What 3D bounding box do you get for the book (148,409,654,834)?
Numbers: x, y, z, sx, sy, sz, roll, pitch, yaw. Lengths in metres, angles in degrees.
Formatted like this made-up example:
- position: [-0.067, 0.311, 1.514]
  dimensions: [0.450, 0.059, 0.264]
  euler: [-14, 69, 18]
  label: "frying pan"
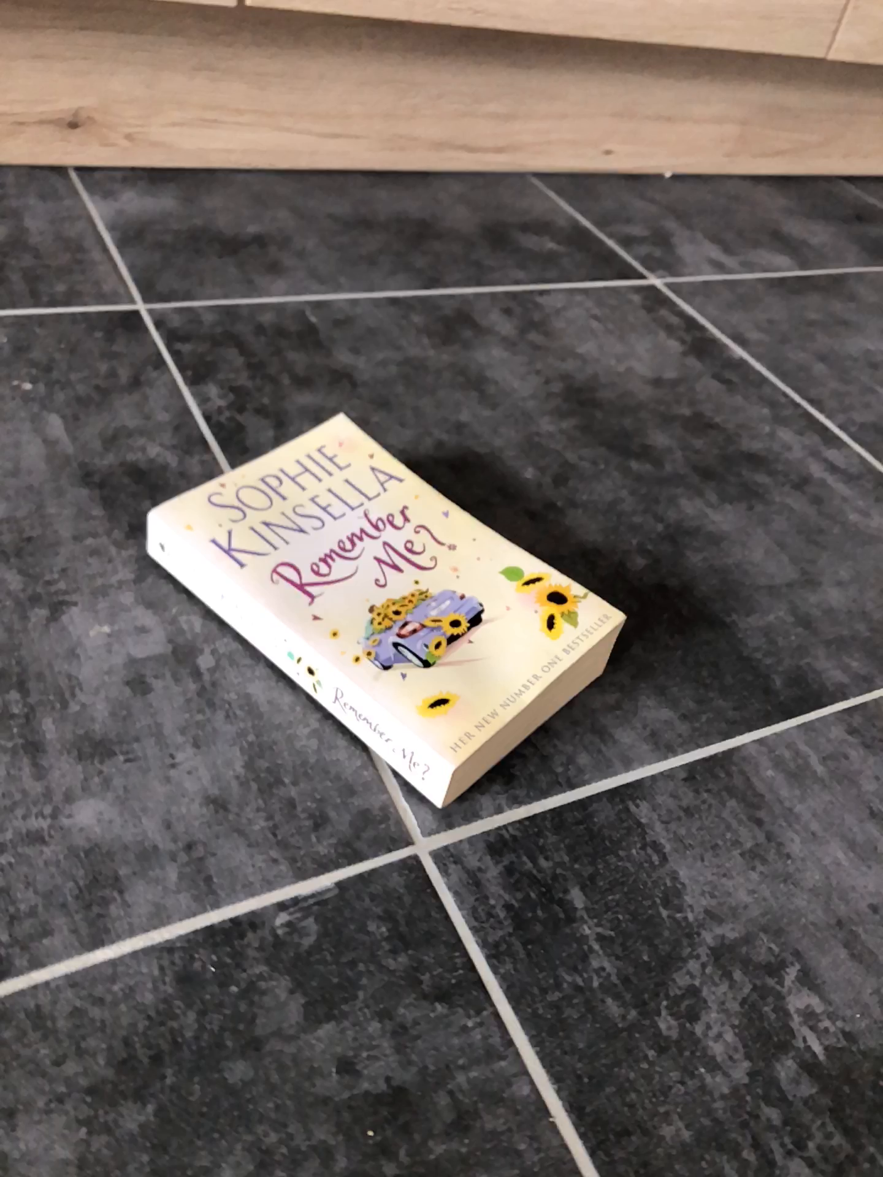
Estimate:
- position: [-0.022, 0.001, 0.463]
  dimensions: [0.200, 0.040, 0.131]
  euler: [37, 50, 24]
  label: "book"
